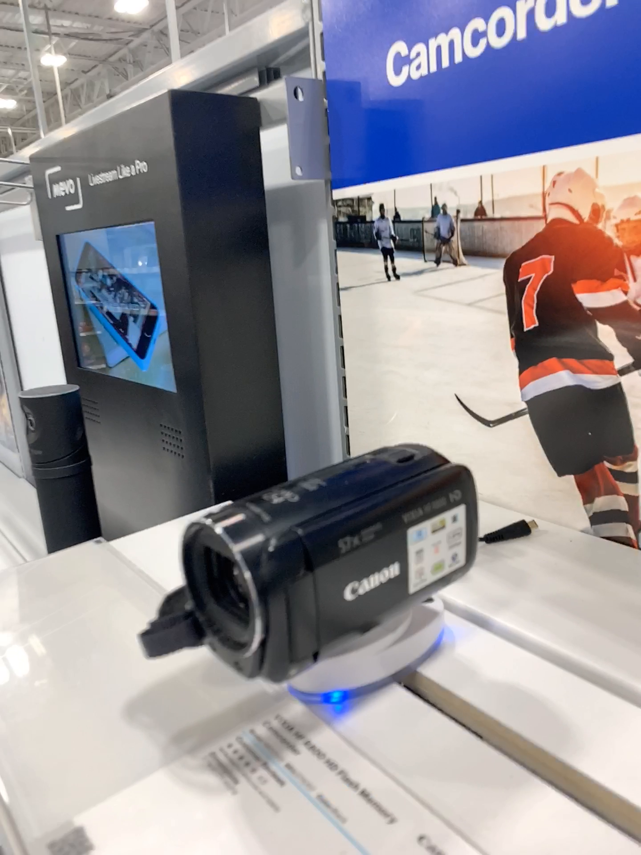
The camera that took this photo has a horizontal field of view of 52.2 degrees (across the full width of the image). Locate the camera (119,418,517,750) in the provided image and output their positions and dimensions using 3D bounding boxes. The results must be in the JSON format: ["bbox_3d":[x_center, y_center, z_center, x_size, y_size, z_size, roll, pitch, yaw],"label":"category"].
[{"bbox_3d":[0.005,0.047,0.260,0.139,0.062,0.072,-16,20,-36],"label":"camera"}]
